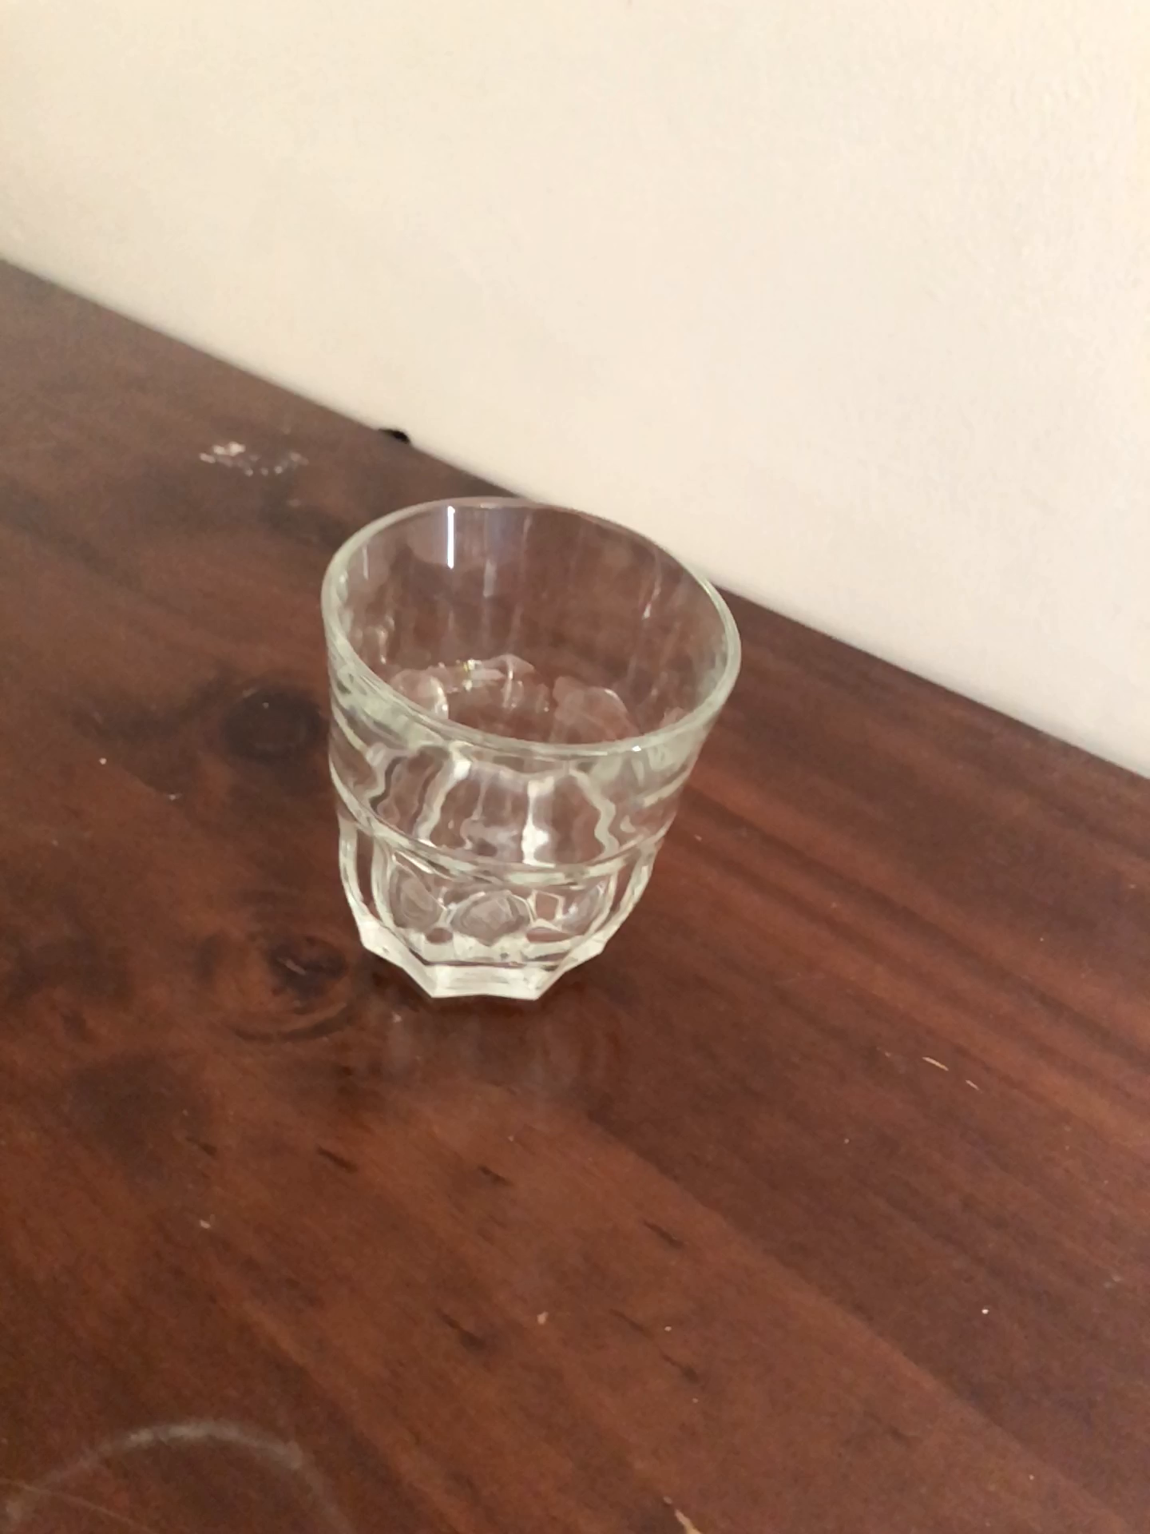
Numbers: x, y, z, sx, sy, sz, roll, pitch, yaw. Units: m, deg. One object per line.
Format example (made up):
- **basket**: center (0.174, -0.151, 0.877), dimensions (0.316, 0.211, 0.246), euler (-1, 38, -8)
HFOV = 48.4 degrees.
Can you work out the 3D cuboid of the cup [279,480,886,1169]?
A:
- **cup**: center (-0.009, 0.005, 0.272), dimensions (0.090, 0.095, 0.101), euler (-6, 36, -18)
